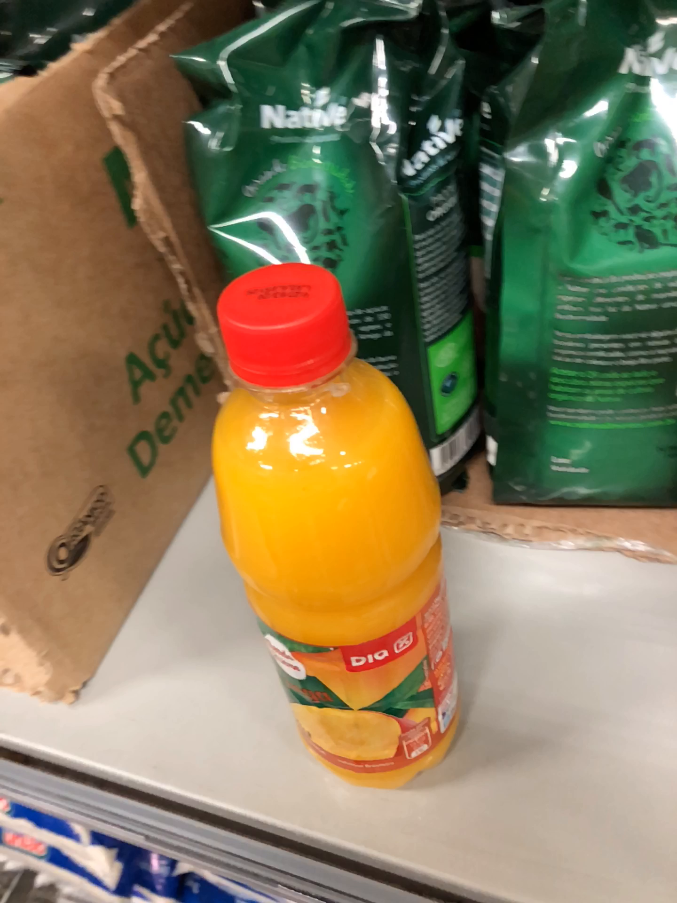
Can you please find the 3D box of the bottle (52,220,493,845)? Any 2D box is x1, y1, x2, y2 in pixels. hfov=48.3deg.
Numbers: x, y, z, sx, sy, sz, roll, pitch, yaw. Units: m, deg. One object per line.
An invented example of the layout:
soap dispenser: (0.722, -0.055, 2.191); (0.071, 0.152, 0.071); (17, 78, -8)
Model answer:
bottle: (-0.003, 0.040, 0.236); (0.070, 0.199, 0.060); (27, 57, 35)
